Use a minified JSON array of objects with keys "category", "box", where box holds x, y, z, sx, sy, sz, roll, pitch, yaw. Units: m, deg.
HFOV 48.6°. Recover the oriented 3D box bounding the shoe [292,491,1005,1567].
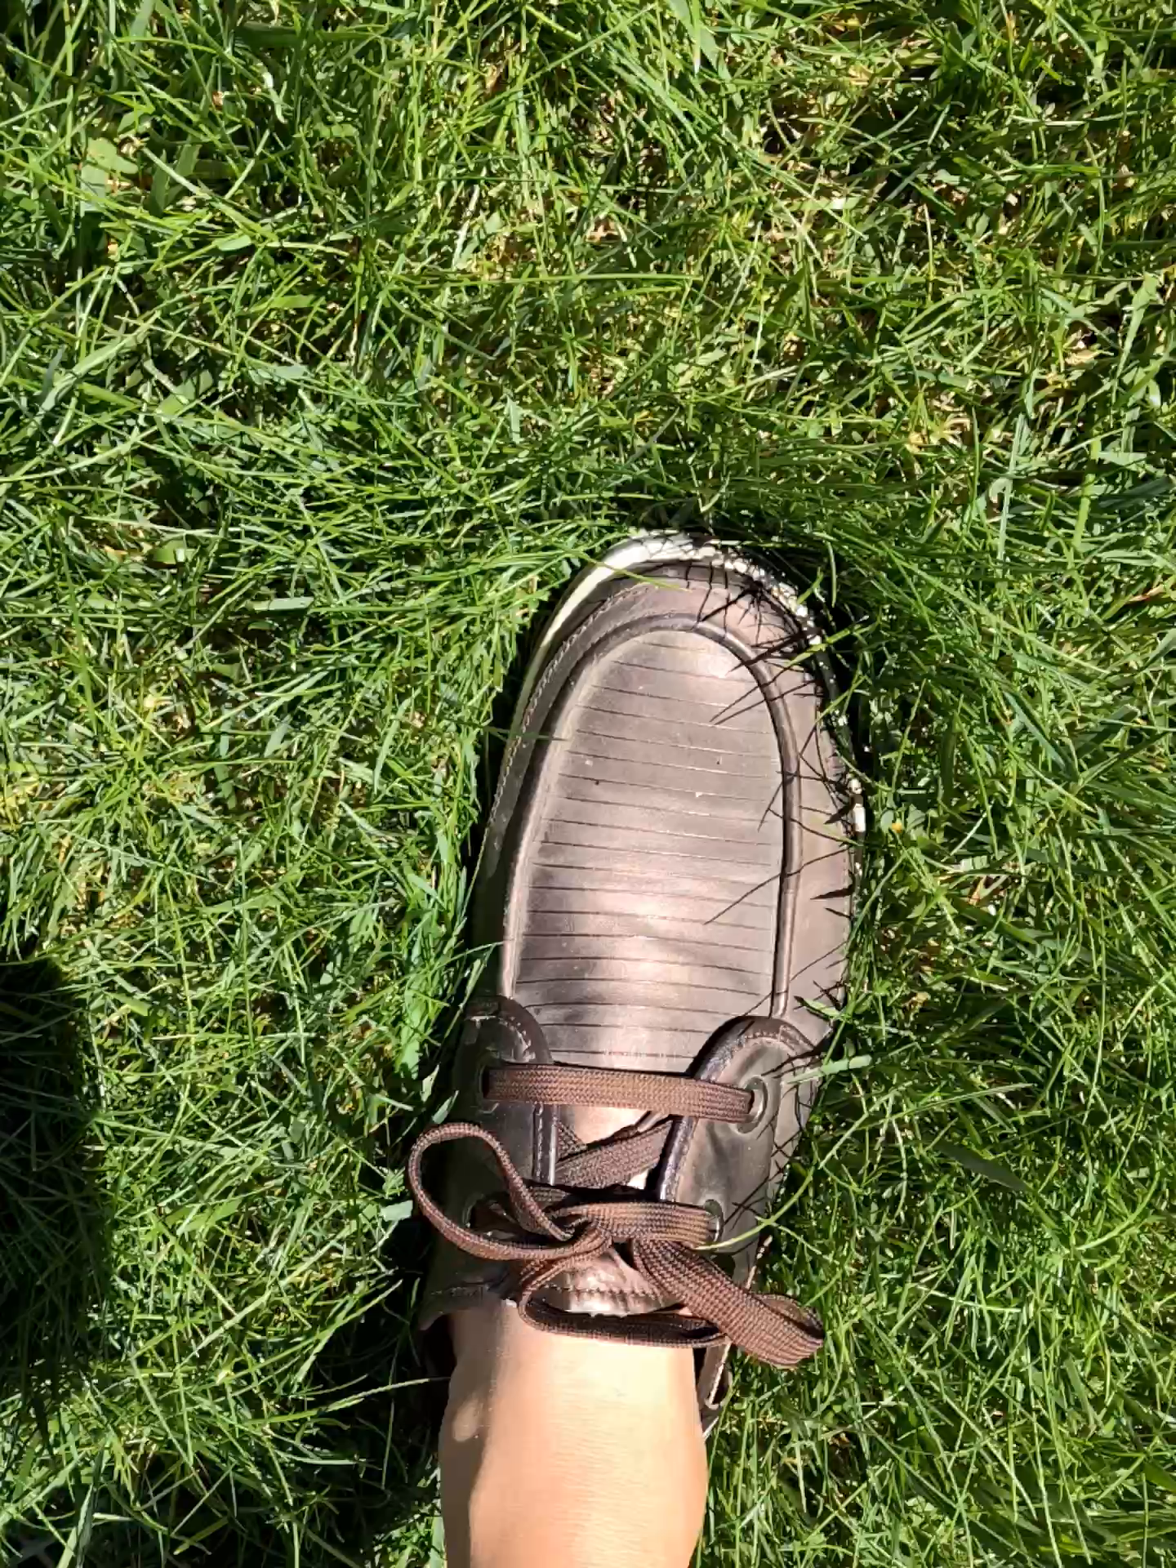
[{"category":"shoe","box":[0.009,0.081,0.342,0.110,0.107,0.293,11,104,4]}]
